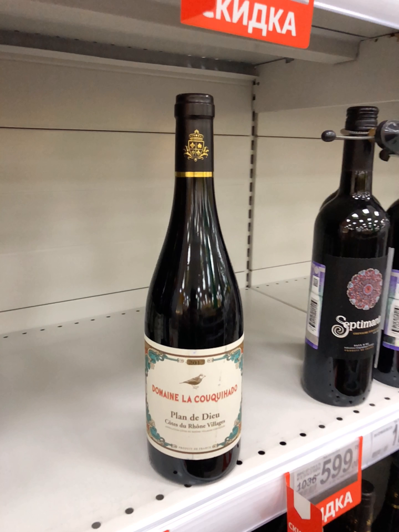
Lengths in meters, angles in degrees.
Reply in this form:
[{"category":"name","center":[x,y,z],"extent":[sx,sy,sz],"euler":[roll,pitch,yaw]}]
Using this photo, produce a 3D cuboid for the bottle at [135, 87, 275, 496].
[{"category":"bottle","center":[-0.002,0.024,0.355],"extent":[0.090,0.302,0.080],"euler":[-1,14,-6]}]
